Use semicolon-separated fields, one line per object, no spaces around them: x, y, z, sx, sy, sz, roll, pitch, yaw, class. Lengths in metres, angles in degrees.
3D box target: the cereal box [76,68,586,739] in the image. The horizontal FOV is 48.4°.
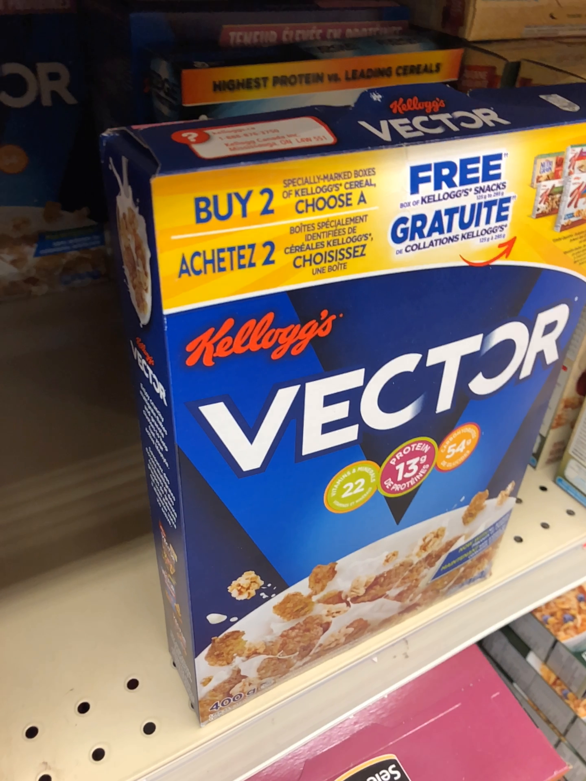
0.032;0.016;0.289;0.200;0.268;0.060;-17;43;-25;cereal box
